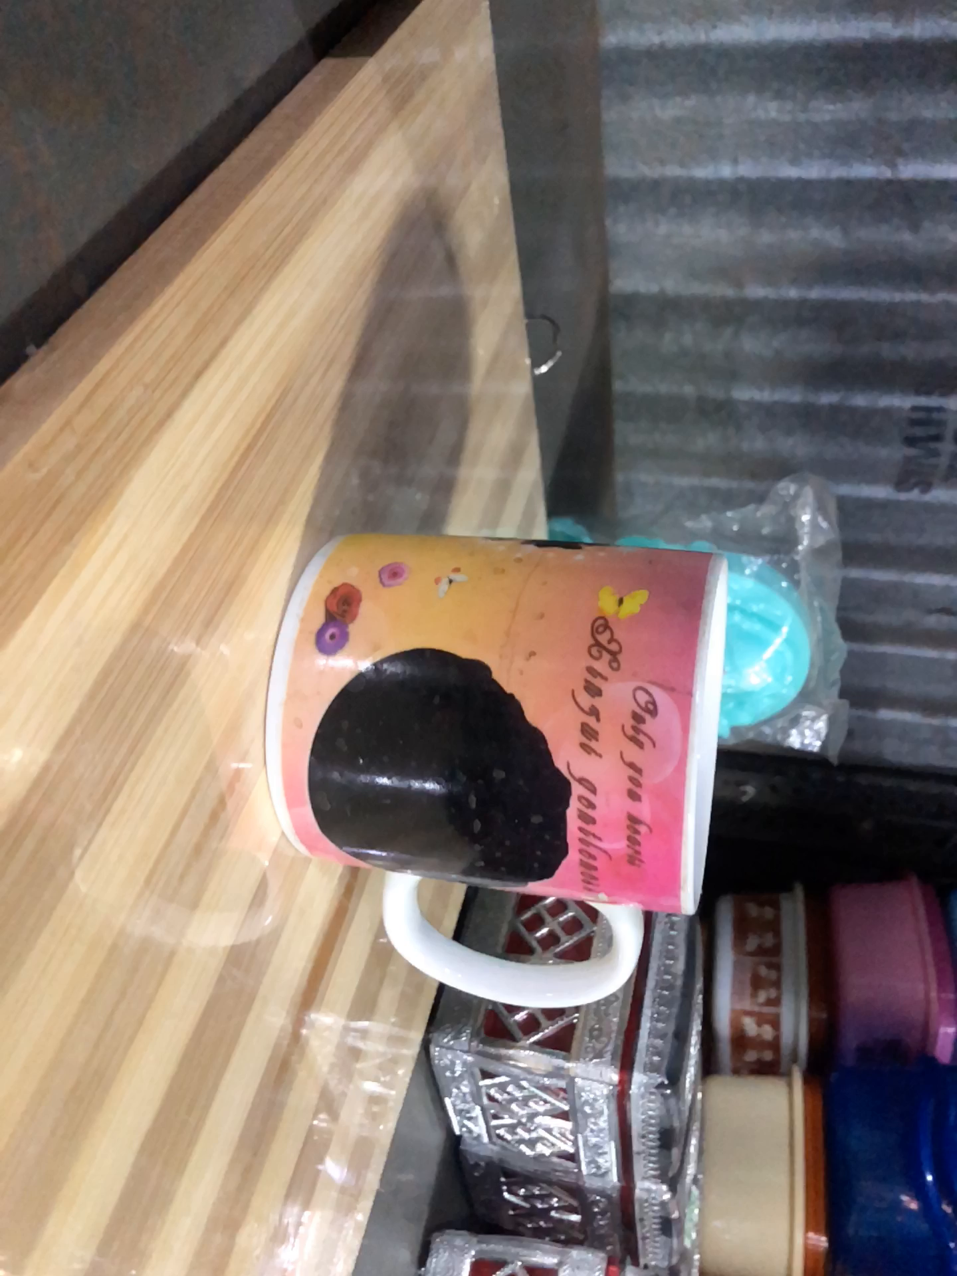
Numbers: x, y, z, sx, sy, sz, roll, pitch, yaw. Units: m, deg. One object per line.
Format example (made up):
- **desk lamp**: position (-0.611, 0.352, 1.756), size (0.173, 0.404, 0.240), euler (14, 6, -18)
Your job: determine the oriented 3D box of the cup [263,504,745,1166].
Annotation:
- **cup**: position (0.011, 0.035, 0.255), size (0.090, 0.090, 0.120), euler (-40, 134, -71)
